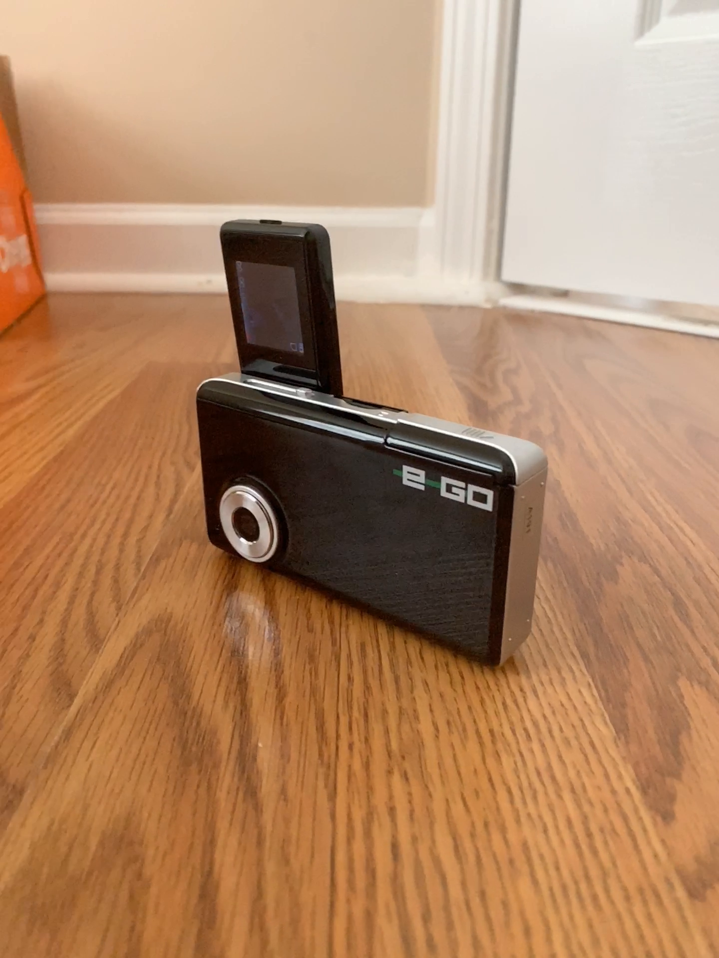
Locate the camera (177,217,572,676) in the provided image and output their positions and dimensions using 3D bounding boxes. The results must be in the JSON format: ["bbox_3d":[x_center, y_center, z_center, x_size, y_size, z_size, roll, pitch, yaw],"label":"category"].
[{"bbox_3d":[-0.003,-0.017,0.222,0.119,0.111,0.022,17,27,36],"label":"camera"}]
